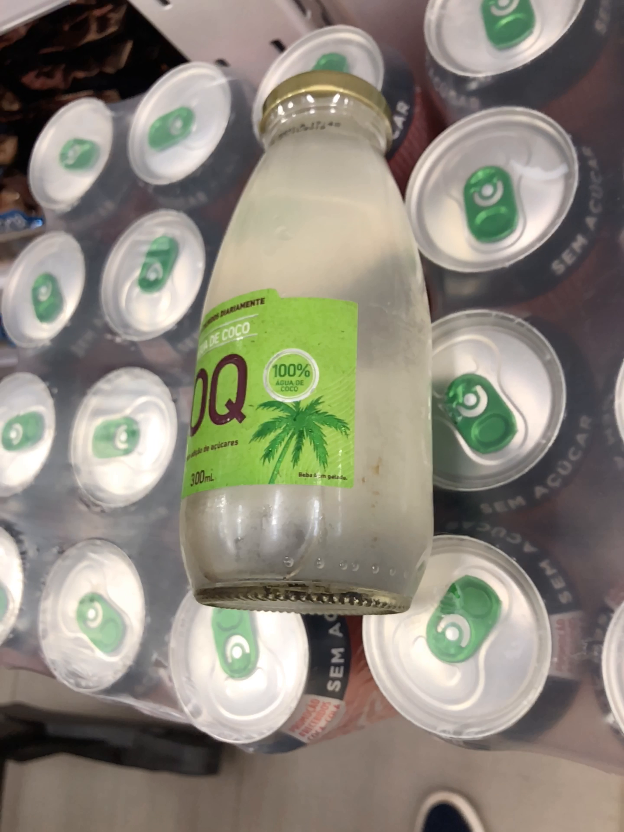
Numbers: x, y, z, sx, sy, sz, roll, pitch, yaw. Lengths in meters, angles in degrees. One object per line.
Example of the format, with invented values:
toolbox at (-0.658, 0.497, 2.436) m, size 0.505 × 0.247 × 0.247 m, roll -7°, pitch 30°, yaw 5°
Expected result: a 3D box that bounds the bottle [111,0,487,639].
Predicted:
bottle at (-0.002, -0.019, 0.193) m, size 0.070 × 0.060 × 0.150 m, roll -17°, pitch 65°, yaw 46°
